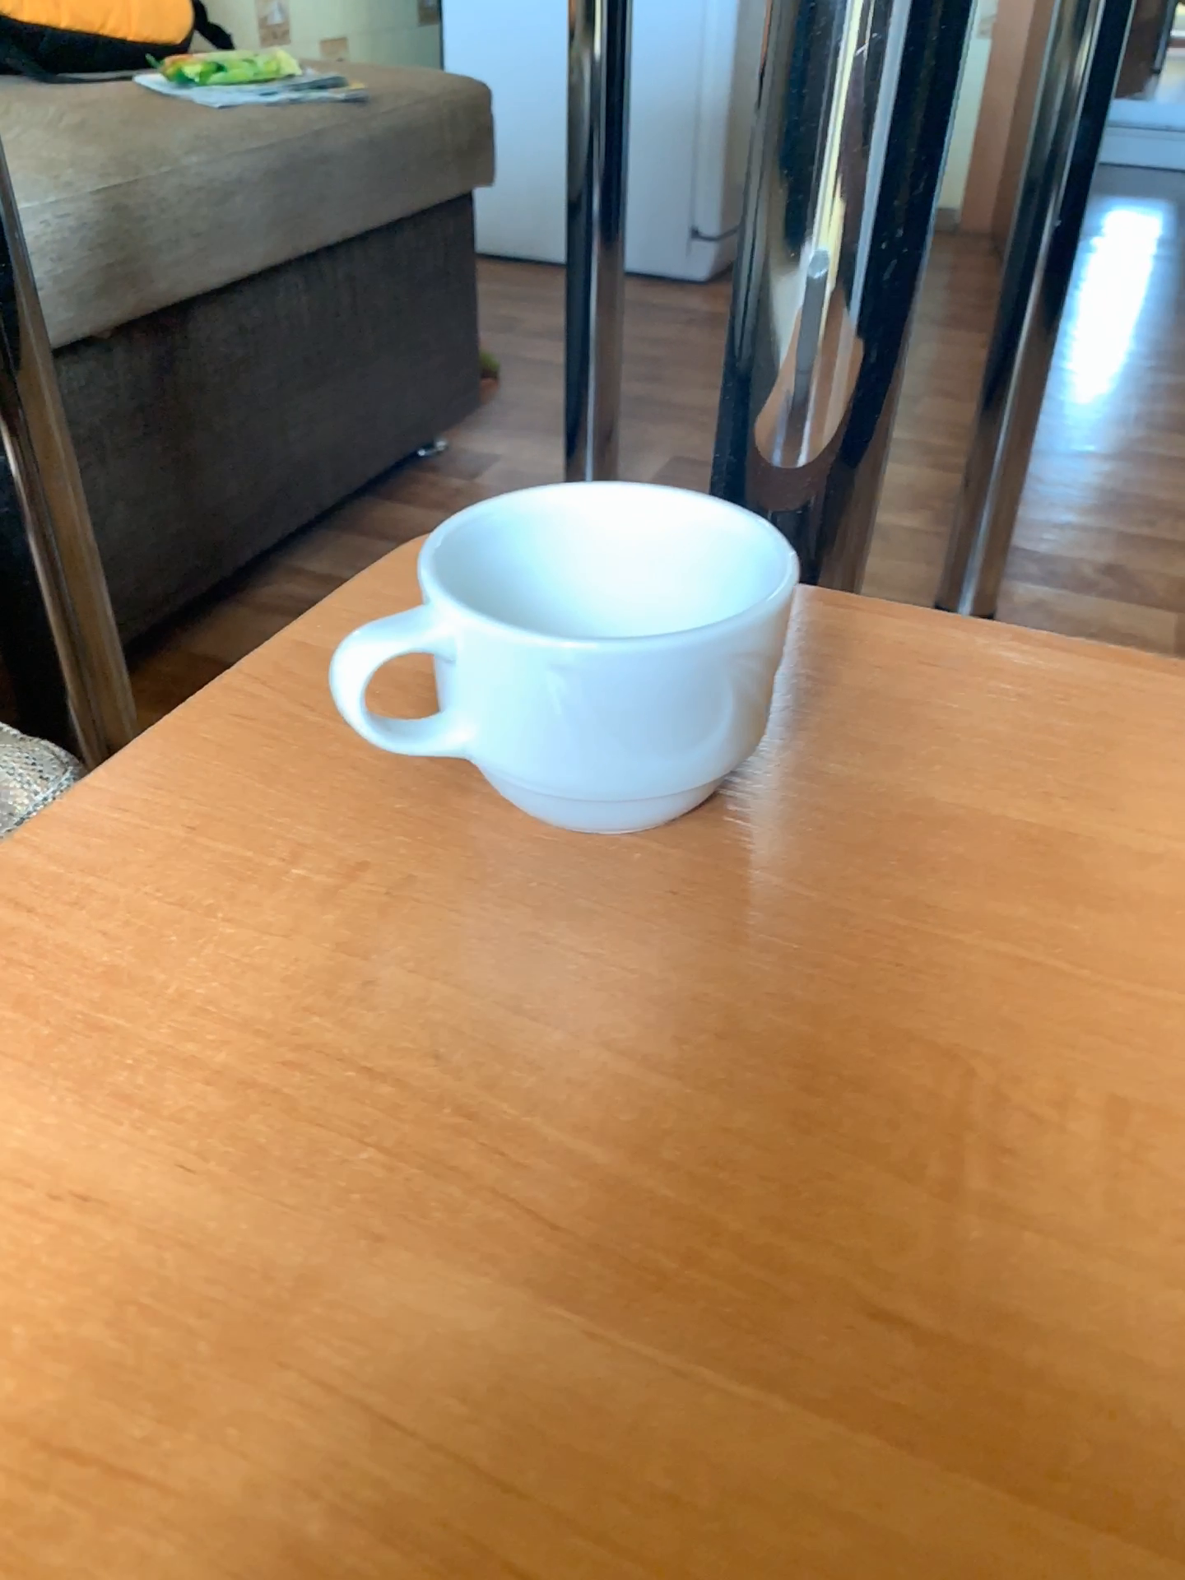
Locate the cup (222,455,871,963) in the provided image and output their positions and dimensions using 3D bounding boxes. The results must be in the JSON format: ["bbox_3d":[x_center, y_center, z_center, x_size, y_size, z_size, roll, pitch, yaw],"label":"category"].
[{"bbox_3d":[-0.012,-0.024,0.250,0.100,0.050,0.080,-16,39,-23],"label":"cup"}]
